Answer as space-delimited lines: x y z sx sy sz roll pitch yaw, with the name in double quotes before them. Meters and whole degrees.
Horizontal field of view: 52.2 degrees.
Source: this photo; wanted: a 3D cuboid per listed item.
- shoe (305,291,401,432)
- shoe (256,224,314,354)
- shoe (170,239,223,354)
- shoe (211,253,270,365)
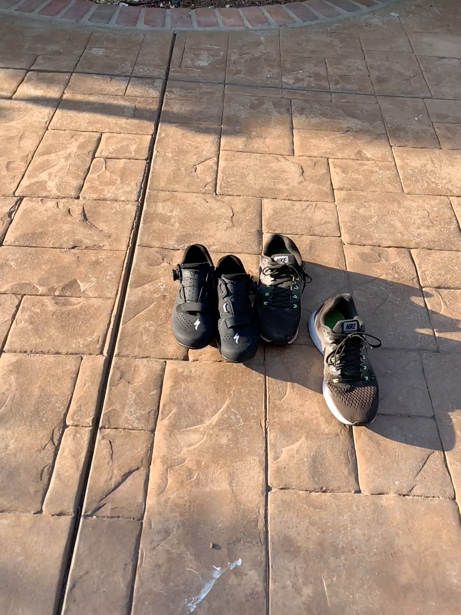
"shoe" 0.237 0.100 0.953 0.120 0.070 0.291 0 51 -3
"shoe" 0.108 -0.047 0.999 0.100 0.090 0.281 3 51 -1
"shoe" -0.071 -0.031 1.000 0.100 0.070 0.261 0 51 -3
"shoe" 0.014 -0.003 0.937 0.100 0.070 0.231 0 51 -3
